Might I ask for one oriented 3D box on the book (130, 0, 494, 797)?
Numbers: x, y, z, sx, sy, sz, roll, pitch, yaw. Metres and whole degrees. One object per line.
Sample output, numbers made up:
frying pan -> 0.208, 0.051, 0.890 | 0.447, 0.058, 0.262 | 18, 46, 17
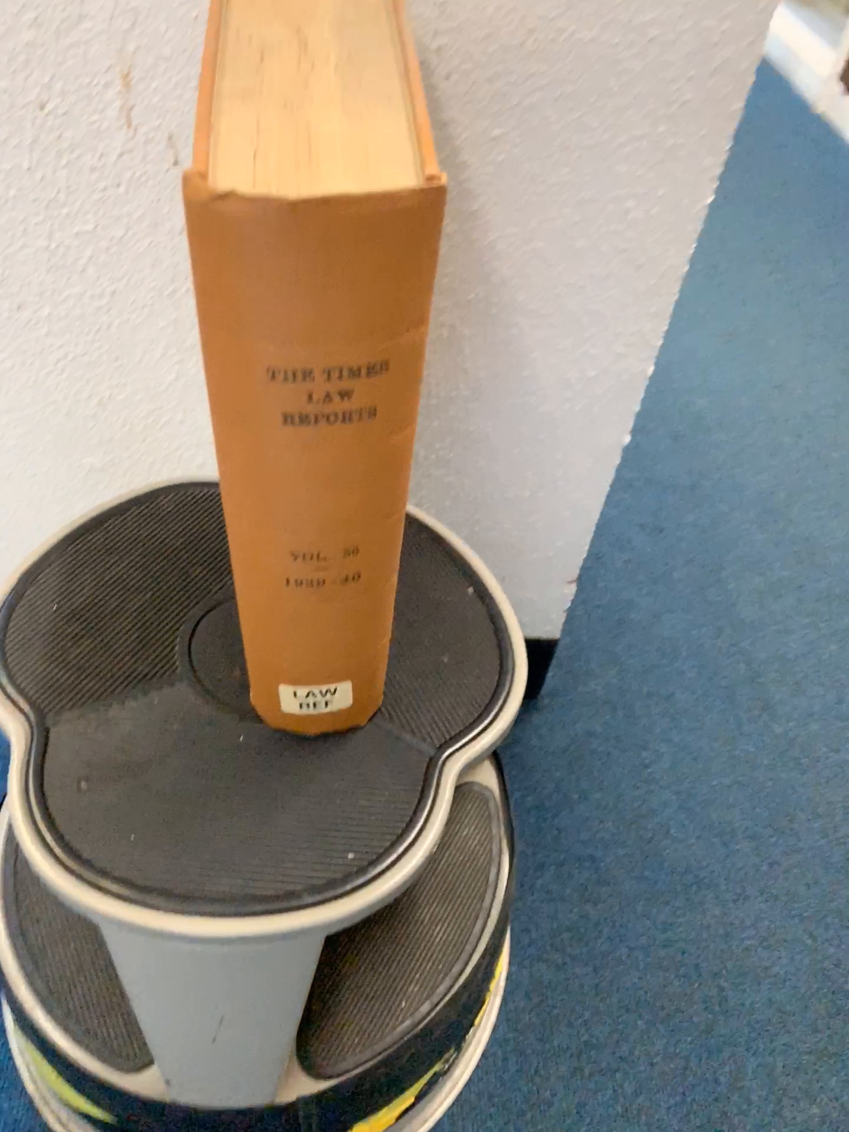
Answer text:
book -> -0.058, -0.077, 0.413 | 0.090, 0.337, 0.222 | -1, 47, -9
